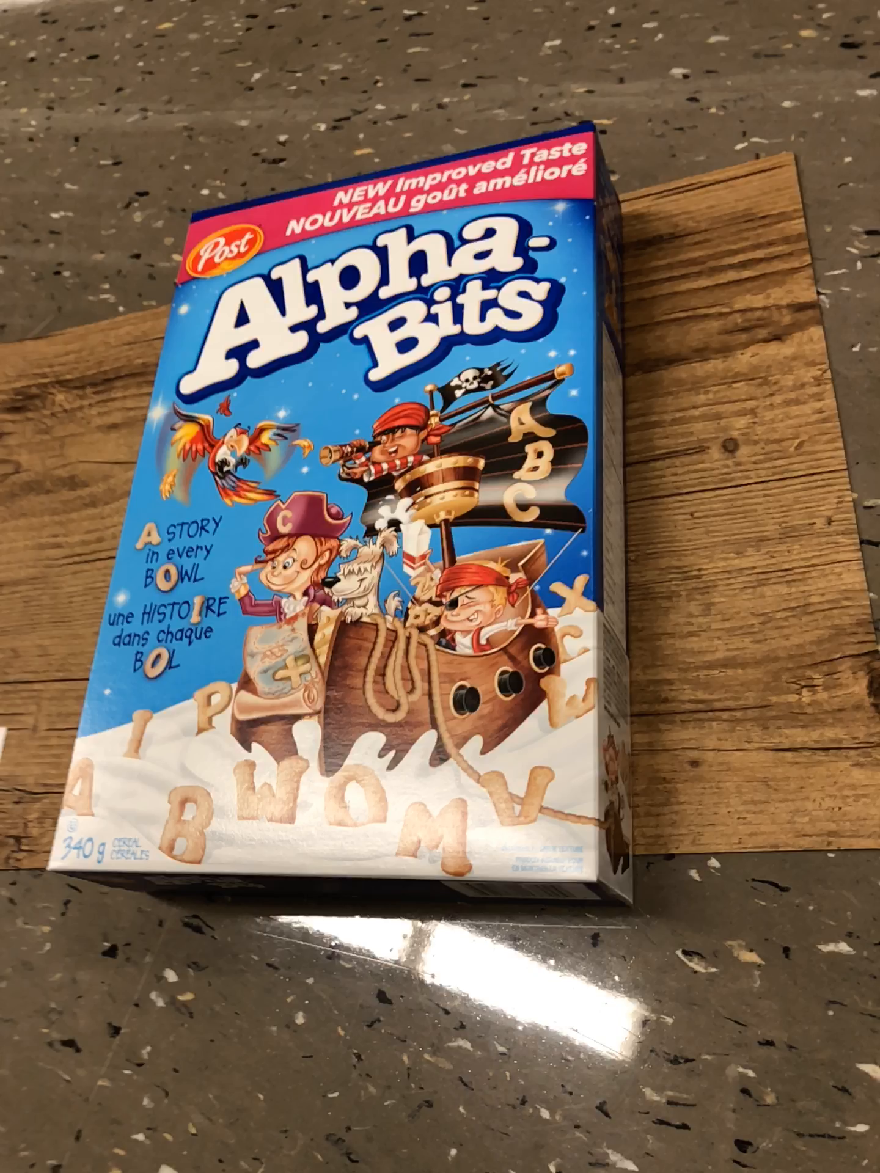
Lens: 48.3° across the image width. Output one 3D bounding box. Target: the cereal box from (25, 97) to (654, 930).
[{"bbox_3d":[-0.025,-0.035,0.386,0.201,0.060,0.310,-5,64,20],"label":"cereal box"}]
